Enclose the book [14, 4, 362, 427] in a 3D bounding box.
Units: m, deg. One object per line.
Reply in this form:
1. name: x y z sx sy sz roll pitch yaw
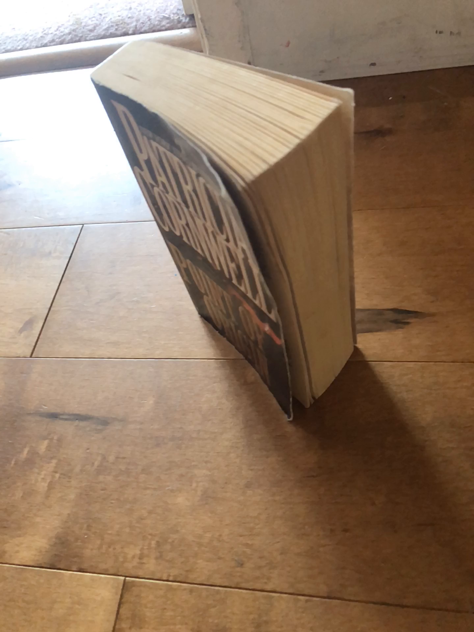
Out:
1. book: -0.012 -0.038 0.244 0.050 0.159 0.131 -41 56 -14
